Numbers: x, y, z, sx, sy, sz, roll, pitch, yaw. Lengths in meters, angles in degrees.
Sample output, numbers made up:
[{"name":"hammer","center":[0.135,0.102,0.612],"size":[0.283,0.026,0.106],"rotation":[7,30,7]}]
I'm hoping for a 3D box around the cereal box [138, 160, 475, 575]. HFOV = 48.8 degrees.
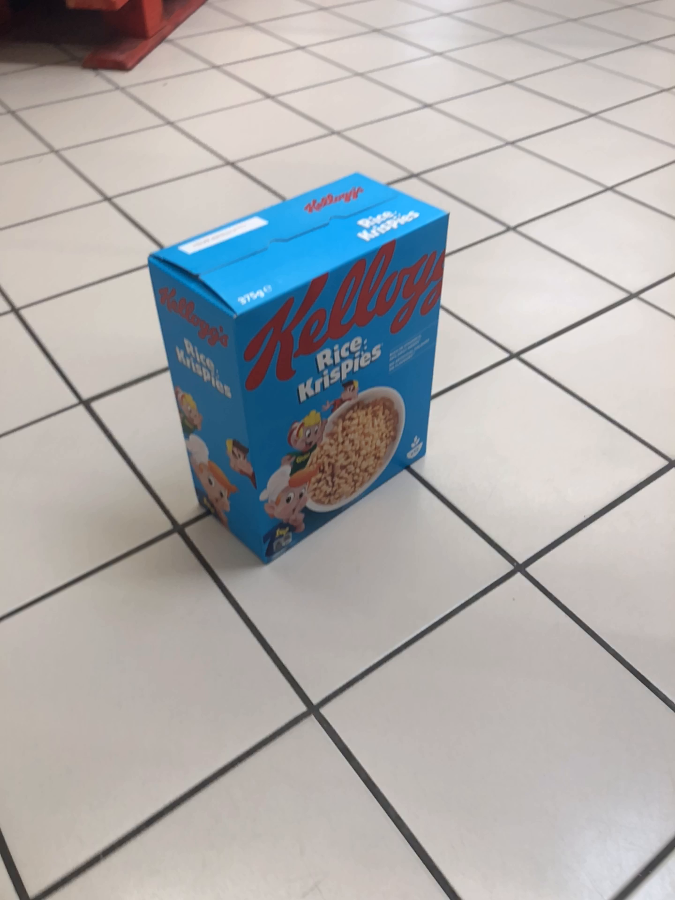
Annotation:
[{"name":"cereal box","center":[-0.017,-0.063,0.579],"size":[0.201,0.239,0.110],"rotation":[-31,52,-29]}]
